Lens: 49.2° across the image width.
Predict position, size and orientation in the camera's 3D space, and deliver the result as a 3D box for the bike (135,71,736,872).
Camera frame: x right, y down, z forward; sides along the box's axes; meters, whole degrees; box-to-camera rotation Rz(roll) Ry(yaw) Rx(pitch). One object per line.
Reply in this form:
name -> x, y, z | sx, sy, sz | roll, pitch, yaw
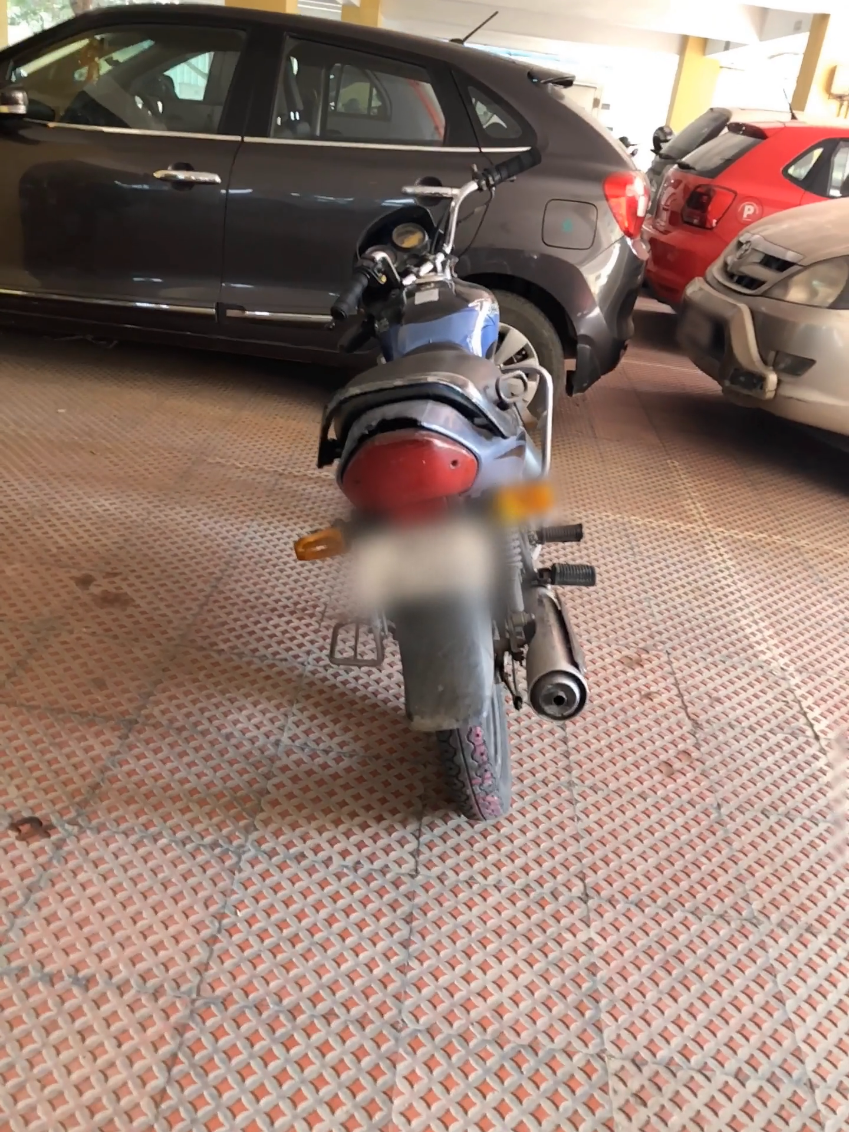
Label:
bike -> -0.139, -0.416, 2.086 | 0.733, 1.072, 1.699 | 4, 29, -8
